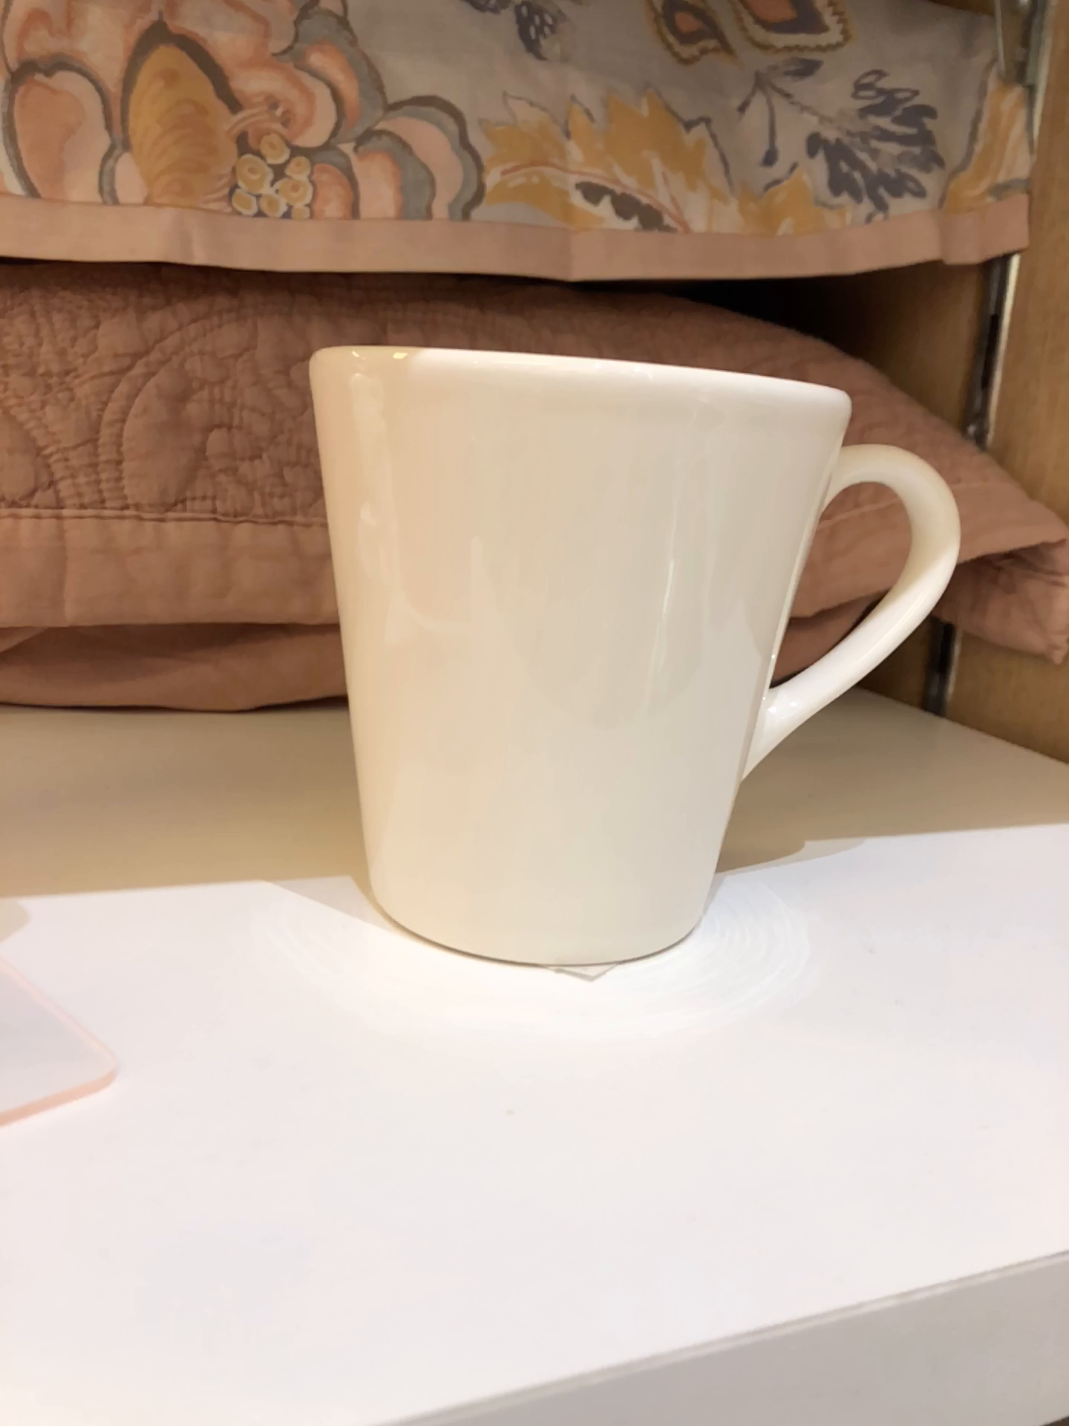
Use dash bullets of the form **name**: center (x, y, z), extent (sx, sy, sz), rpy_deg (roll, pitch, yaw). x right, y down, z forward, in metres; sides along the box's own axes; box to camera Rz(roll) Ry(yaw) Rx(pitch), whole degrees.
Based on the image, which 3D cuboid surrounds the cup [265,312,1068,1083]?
- **cup**: center (0.021, -0.011, 0.213), extent (0.110, 0.100, 0.080), rpy_deg (-4, 15, -33)
